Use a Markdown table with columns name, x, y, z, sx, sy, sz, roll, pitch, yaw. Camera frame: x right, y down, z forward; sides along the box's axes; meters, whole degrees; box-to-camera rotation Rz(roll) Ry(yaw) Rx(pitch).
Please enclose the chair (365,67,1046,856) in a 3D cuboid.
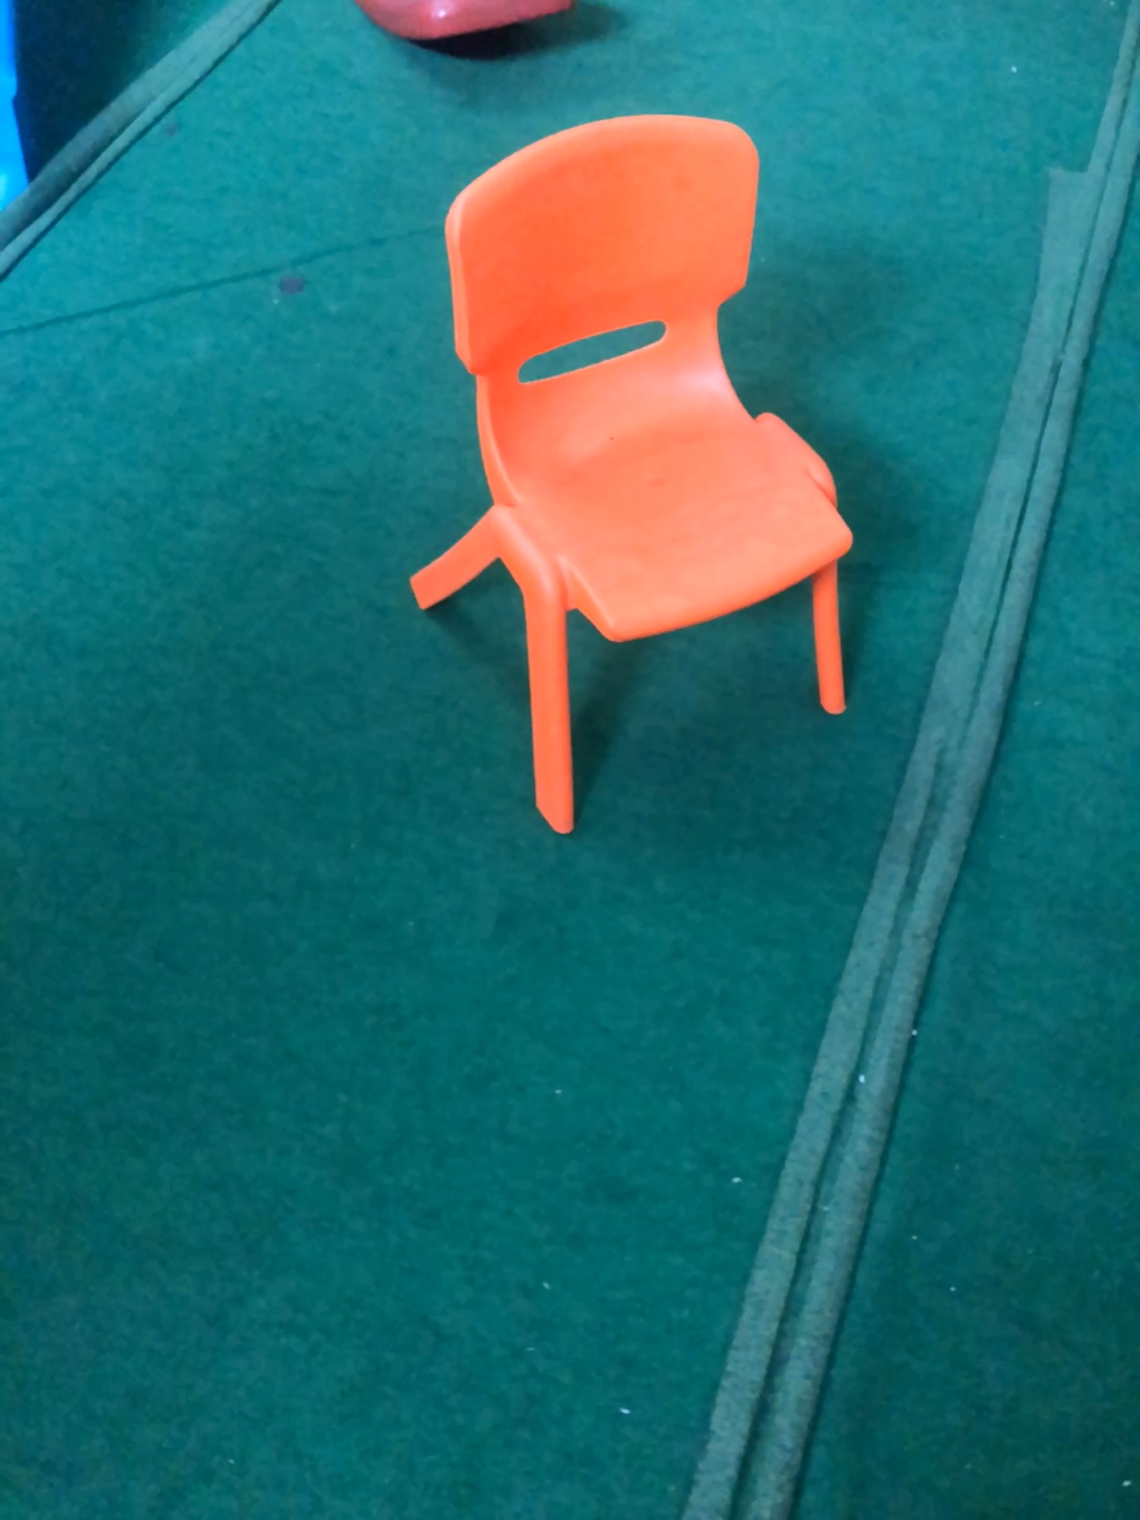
| name | x | y | z | sx | sy | sz | roll | pitch | yaw |
| --- | --- | --- | --- | --- | --- | --- | --- | --- | --- |
| chair | 0.074 | -0.255 | 1.140 | 0.360 | 0.479 | 0.391 | -22 | 61 | -19 |
